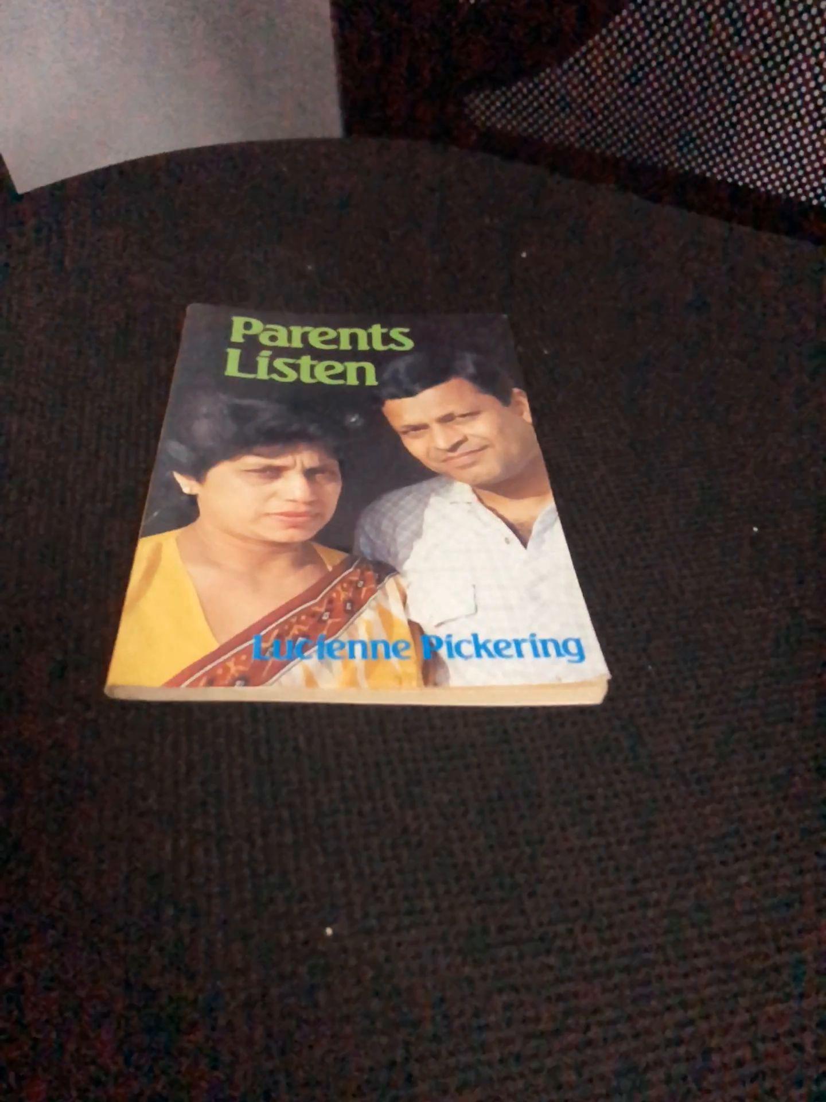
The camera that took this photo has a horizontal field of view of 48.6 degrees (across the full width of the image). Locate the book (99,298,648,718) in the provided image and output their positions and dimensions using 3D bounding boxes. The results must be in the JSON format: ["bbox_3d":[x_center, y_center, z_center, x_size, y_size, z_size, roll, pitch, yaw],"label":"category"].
[{"bbox_3d":[-0.014,-0.027,0.290,0.130,0.010,0.191,1,42,-6],"label":"book"}]
